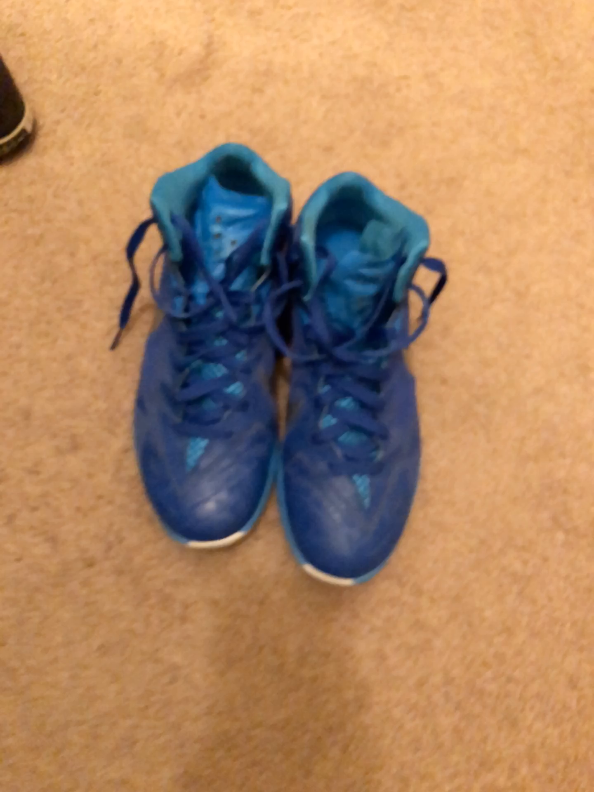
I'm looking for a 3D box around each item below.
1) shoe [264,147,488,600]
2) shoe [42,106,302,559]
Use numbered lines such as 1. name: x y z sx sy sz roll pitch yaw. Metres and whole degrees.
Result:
1. shoe: 0.047 -0.008 0.463 0.122 0.134 0.280 3 73 -1
2. shoe: -0.071 -0.036 0.469 0.120 0.134 0.279 5 73 -1
